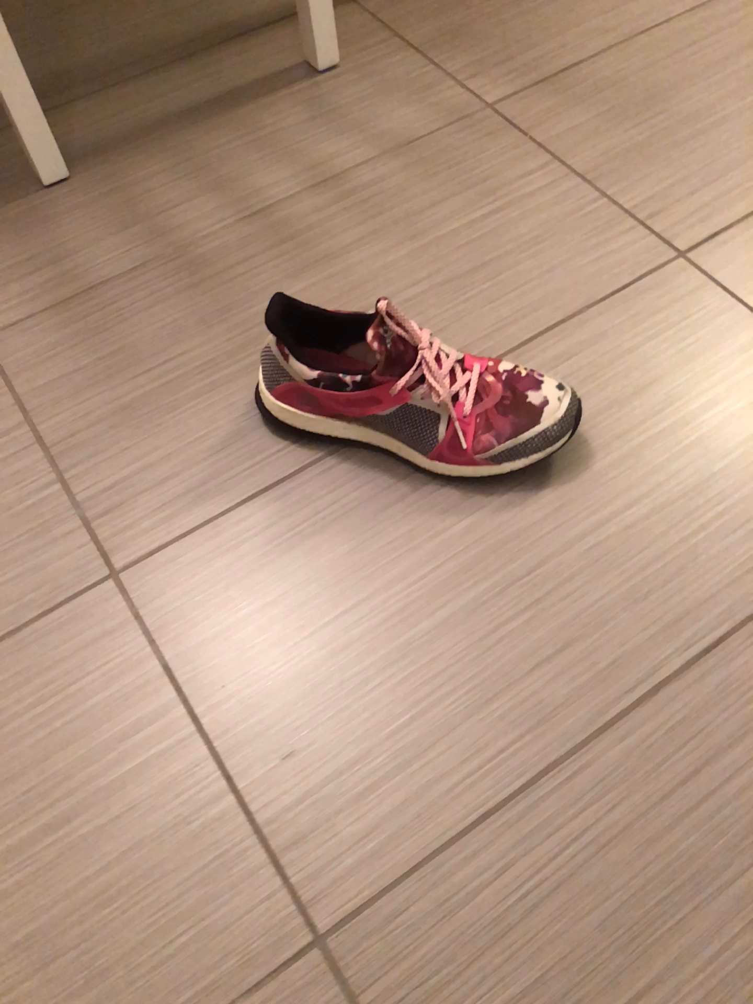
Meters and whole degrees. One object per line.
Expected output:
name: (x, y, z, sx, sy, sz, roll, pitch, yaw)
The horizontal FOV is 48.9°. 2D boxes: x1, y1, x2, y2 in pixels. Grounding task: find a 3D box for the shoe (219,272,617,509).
shoe: (0.034, -0.091, 0.659, 0.280, 0.090, 0.110, 11, 60, 10)
